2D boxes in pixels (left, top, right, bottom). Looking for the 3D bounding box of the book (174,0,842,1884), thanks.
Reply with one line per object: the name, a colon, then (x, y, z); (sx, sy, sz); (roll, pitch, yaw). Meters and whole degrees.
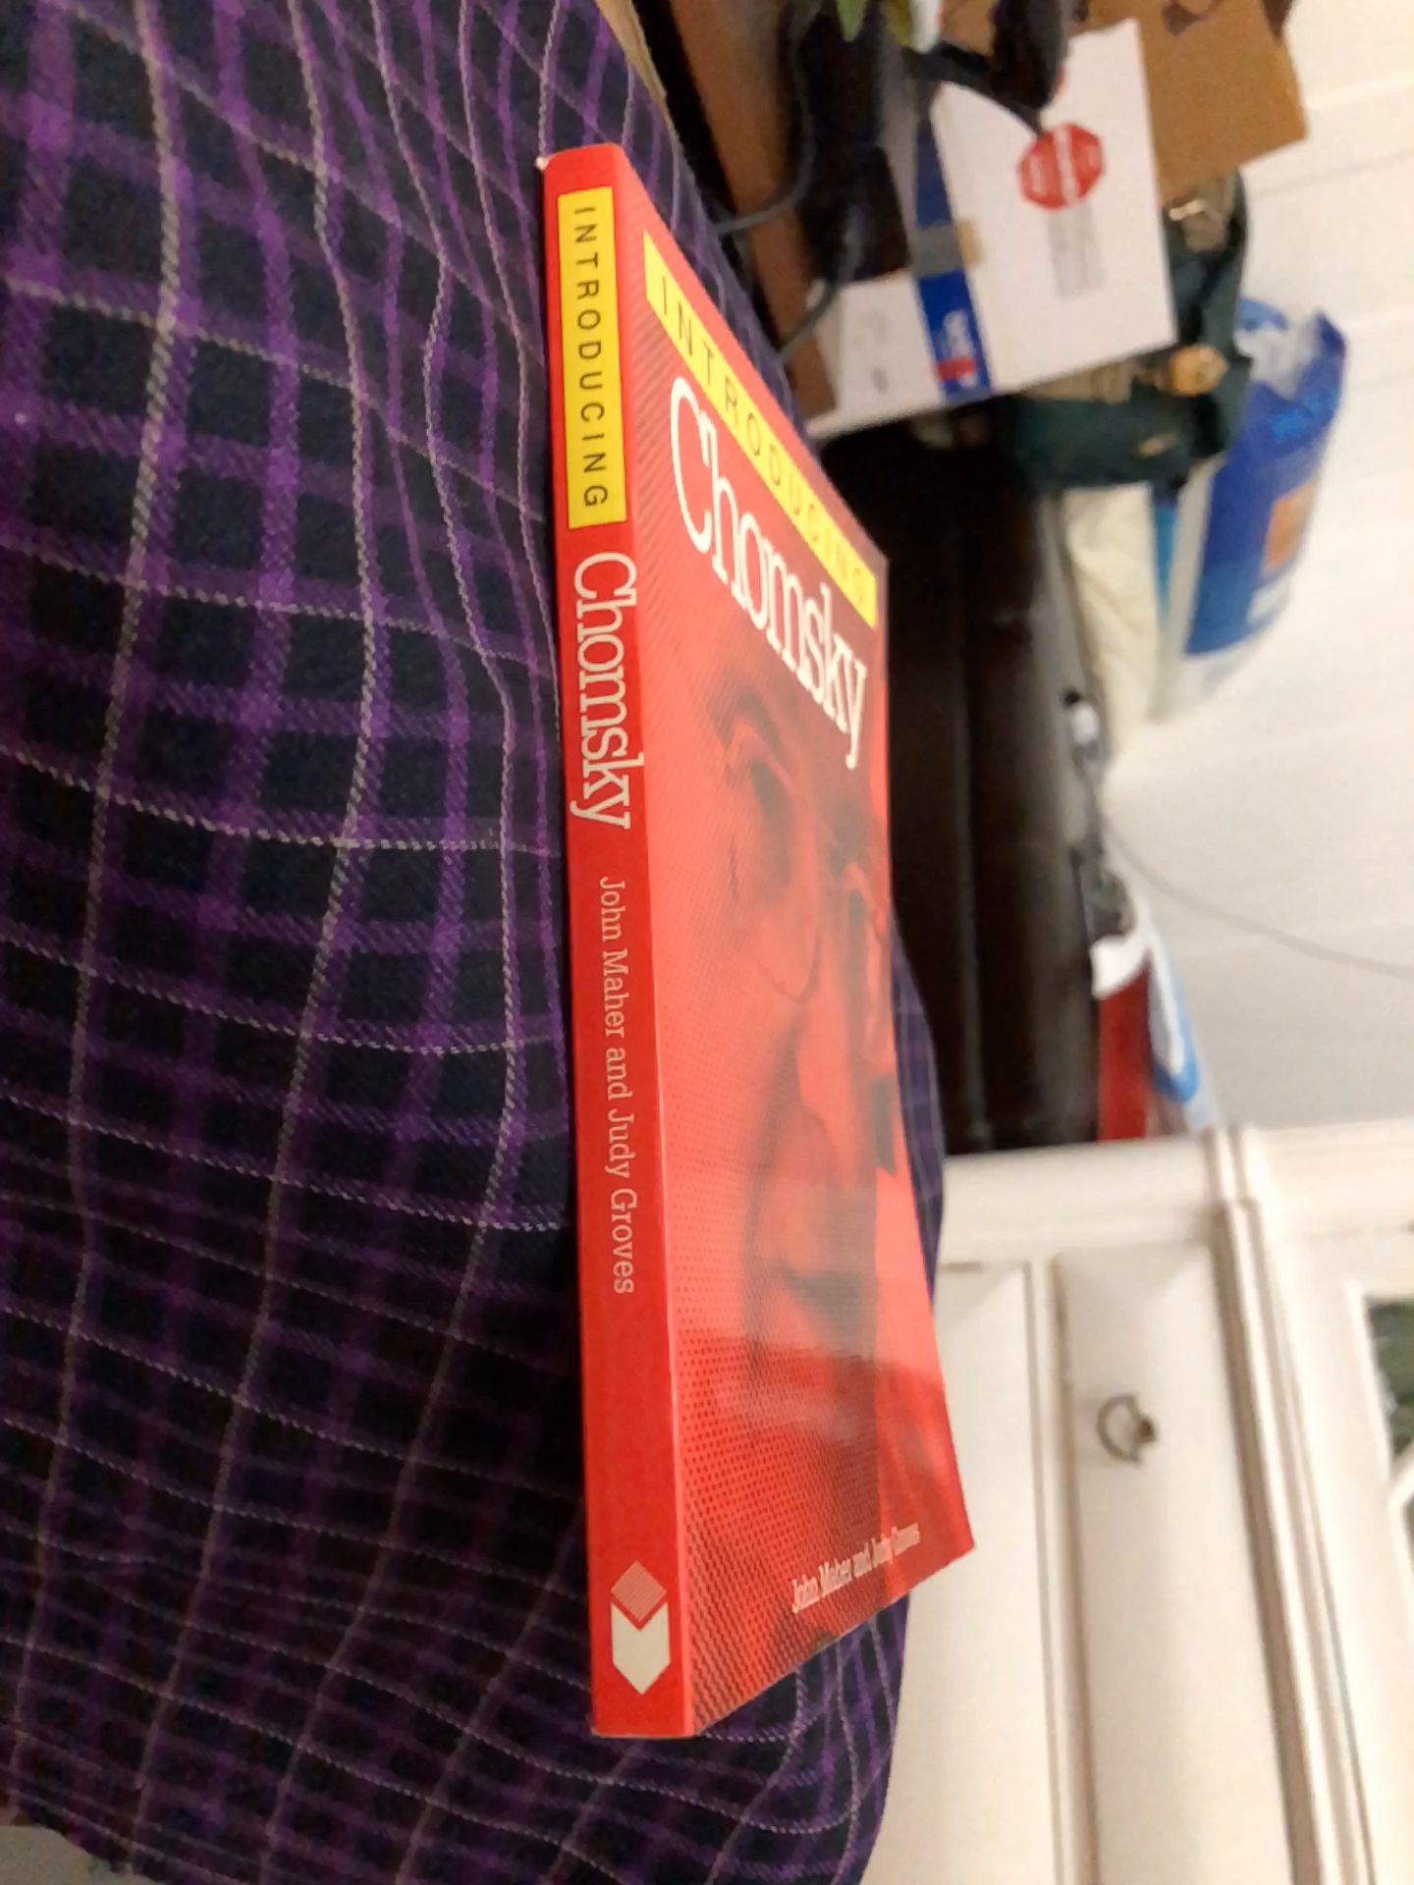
book: (-0.021, 0.002, 0.260); (0.181, 0.020, 0.240); (30, 53, -68)
